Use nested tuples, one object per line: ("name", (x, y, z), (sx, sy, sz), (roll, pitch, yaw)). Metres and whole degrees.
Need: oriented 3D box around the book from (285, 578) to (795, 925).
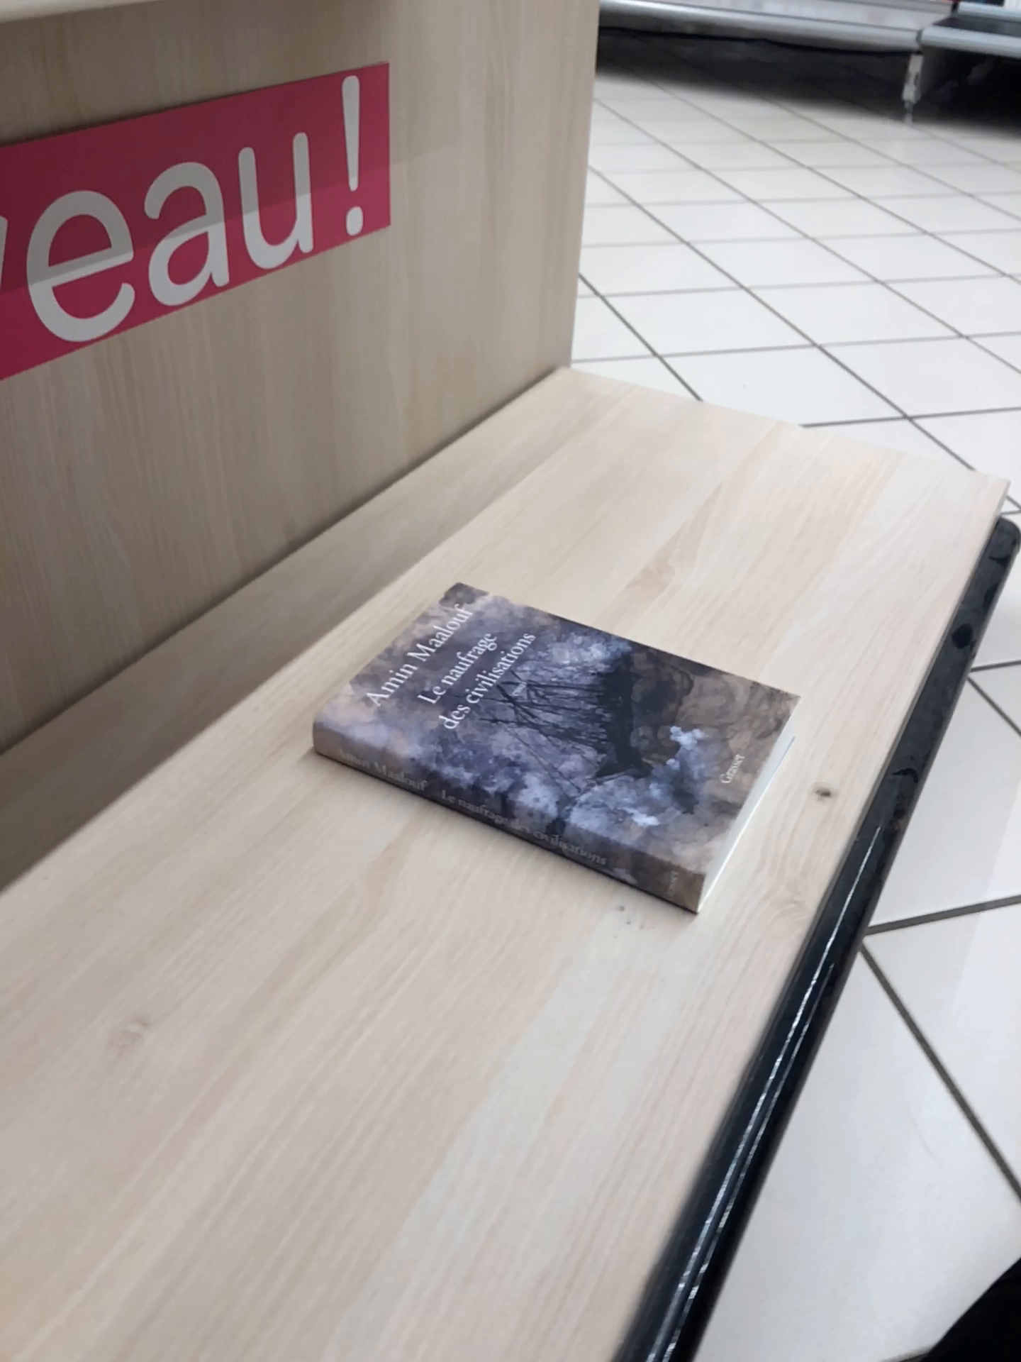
("book", (0.018, 0.023, 0.568), (0.211, 0.026, 0.148), (20, 40, 20))
